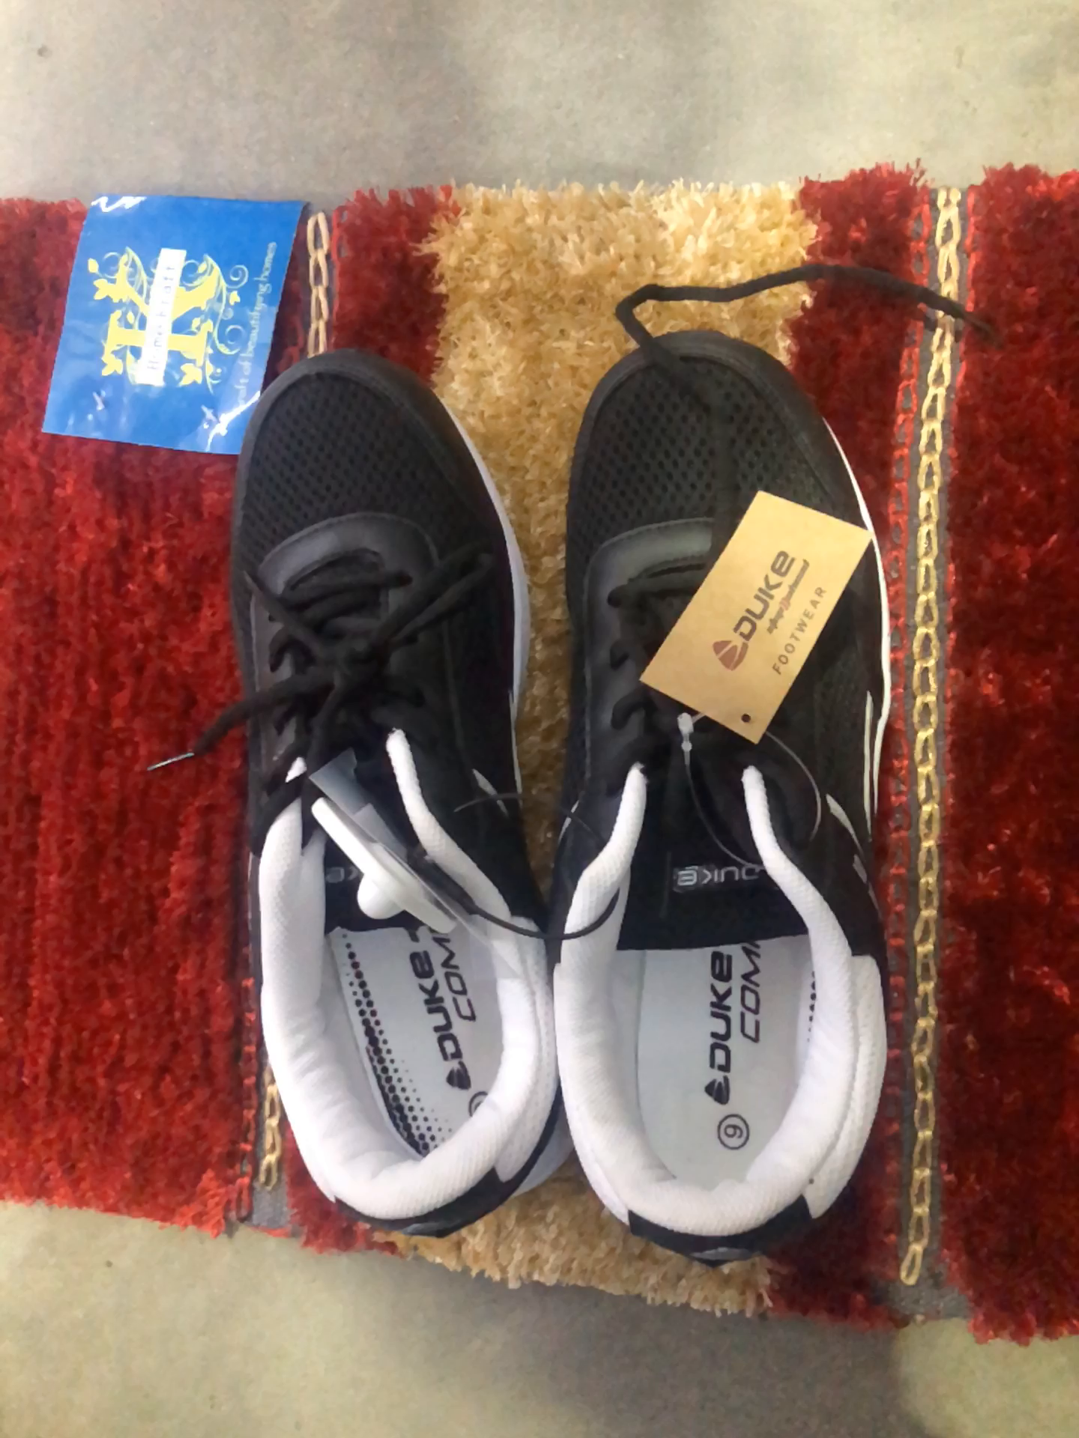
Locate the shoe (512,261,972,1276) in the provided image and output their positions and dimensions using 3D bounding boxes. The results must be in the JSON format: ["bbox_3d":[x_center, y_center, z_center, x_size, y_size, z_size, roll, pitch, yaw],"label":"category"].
[{"bbox_3d":[0.054,0.012,0.338,0.110,0.070,0.250,-1,85,10],"label":"shoe"}]

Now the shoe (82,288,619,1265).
[{"bbox_3d":[-0.052,0.015,0.345,0.100,0.070,0.240,-11,84,9],"label":"shoe"}]
